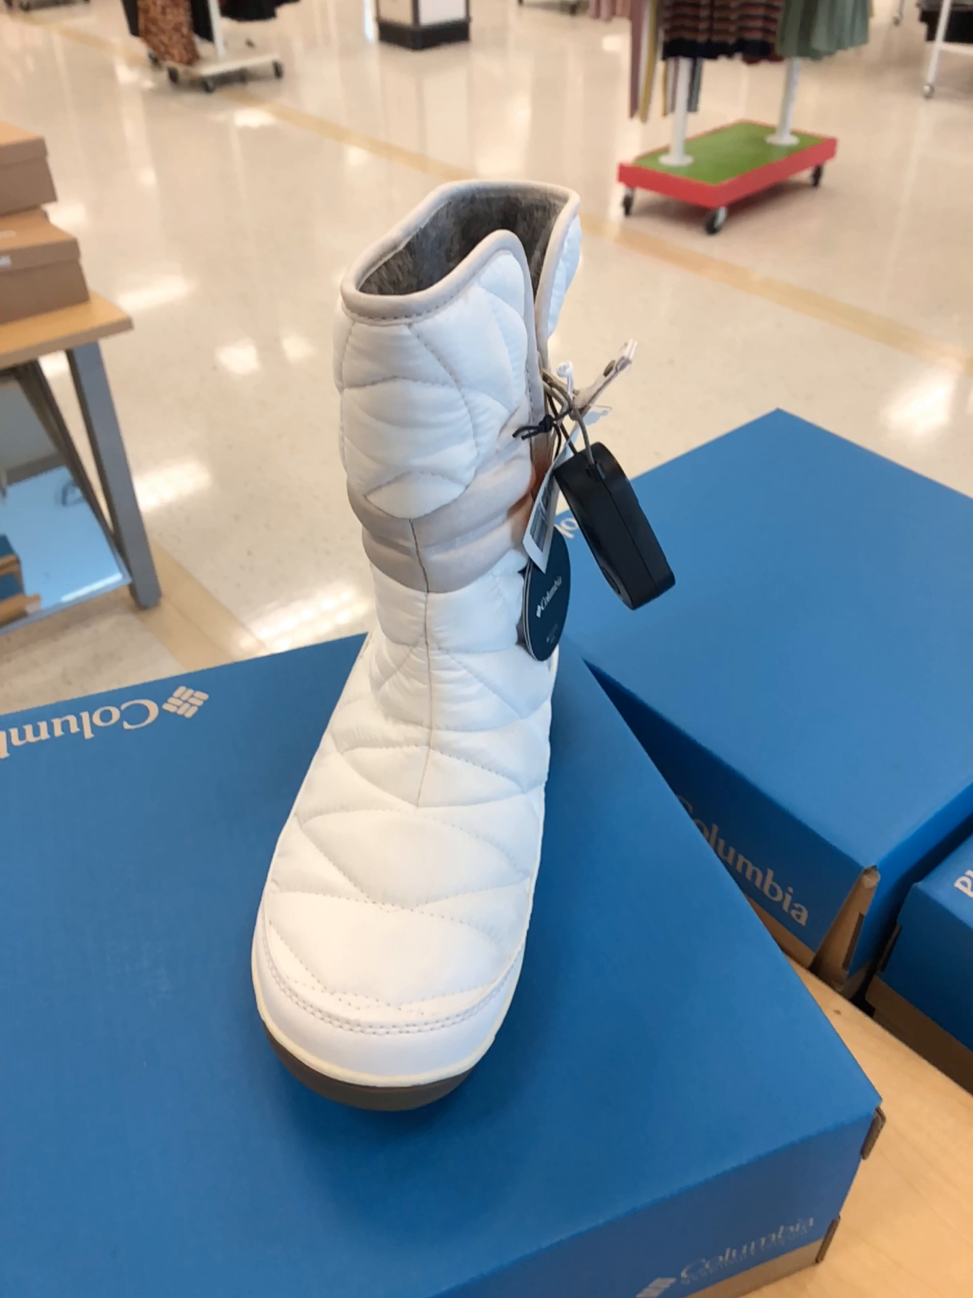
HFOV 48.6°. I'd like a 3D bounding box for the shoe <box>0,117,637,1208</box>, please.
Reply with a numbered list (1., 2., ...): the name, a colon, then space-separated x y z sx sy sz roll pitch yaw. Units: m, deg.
1. shoe: -0.020 -0.013 0.348 0.104 0.228 0.262 5 40 8
